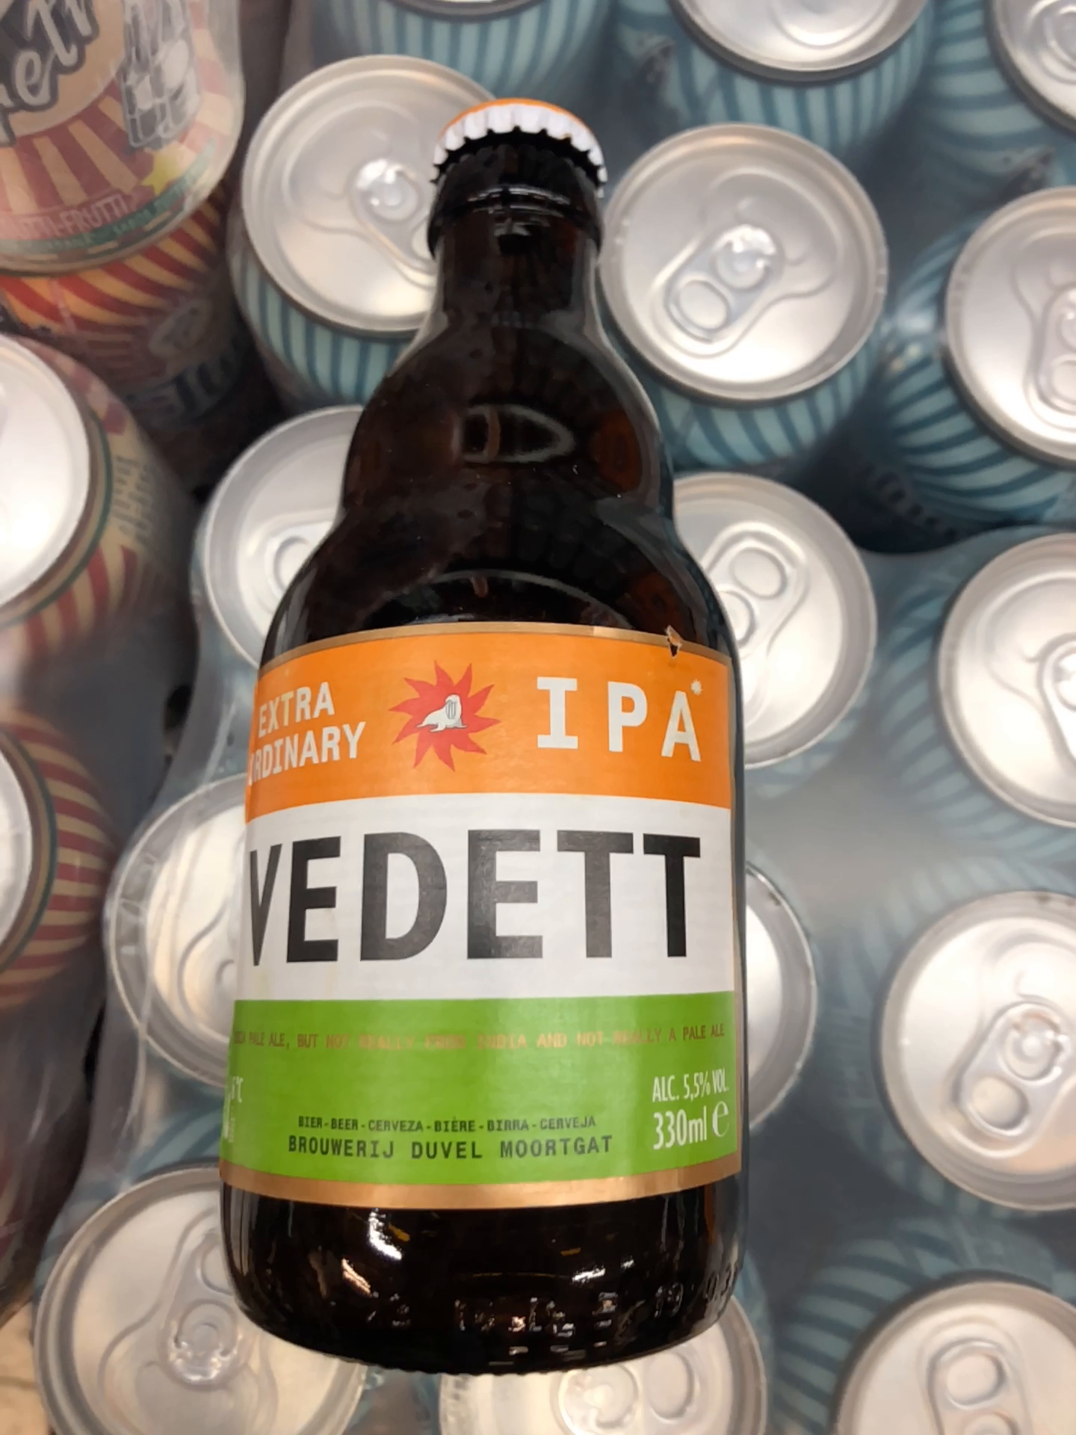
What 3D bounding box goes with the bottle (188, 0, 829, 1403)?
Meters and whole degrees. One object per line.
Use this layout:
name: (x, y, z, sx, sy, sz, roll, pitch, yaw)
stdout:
bottle: (-0.003, -0.016, 0.175, 0.070, 0.060, 0.190, 1, 82, -3)
